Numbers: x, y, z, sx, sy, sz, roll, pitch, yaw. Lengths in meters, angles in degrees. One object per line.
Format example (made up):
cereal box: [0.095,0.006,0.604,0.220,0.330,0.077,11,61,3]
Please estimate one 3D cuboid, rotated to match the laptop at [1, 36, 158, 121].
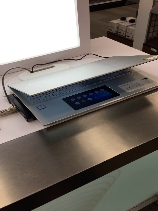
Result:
laptop: [0.020,-0.098,0.579,0.352,0.098,0.234,-21,39,-24]
